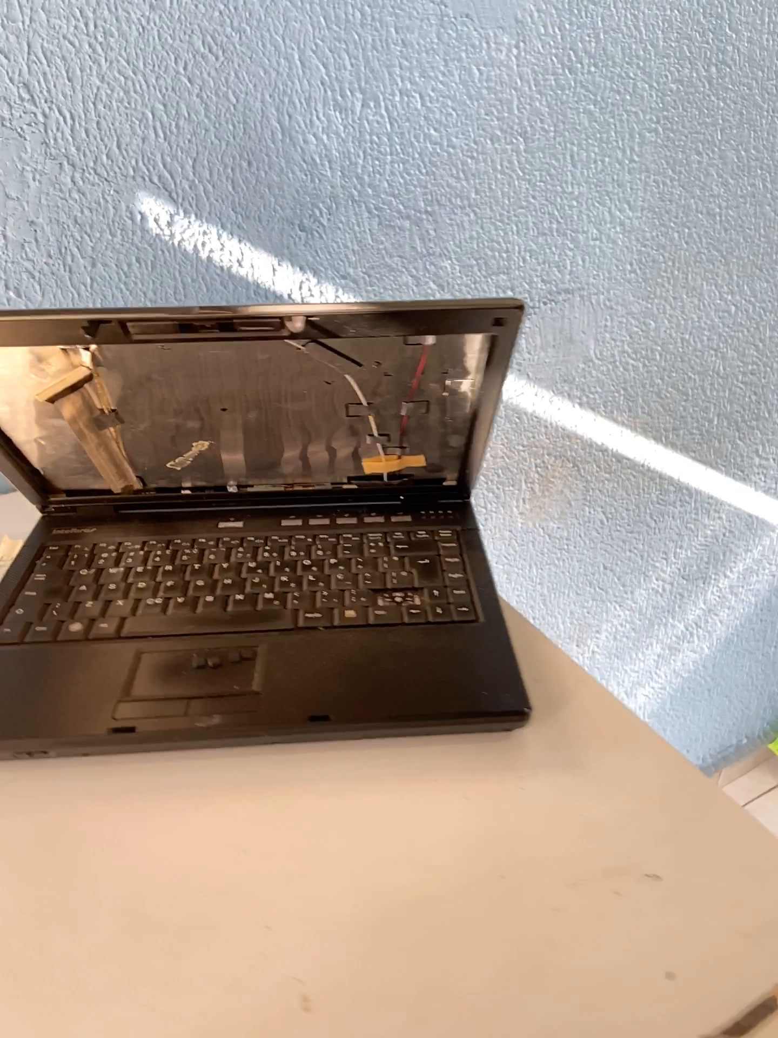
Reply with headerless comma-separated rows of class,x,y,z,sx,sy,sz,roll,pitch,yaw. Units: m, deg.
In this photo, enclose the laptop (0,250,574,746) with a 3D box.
laptop,-0.088,-0.032,0.469,0.322,0.191,0.232,-2,30,-3
